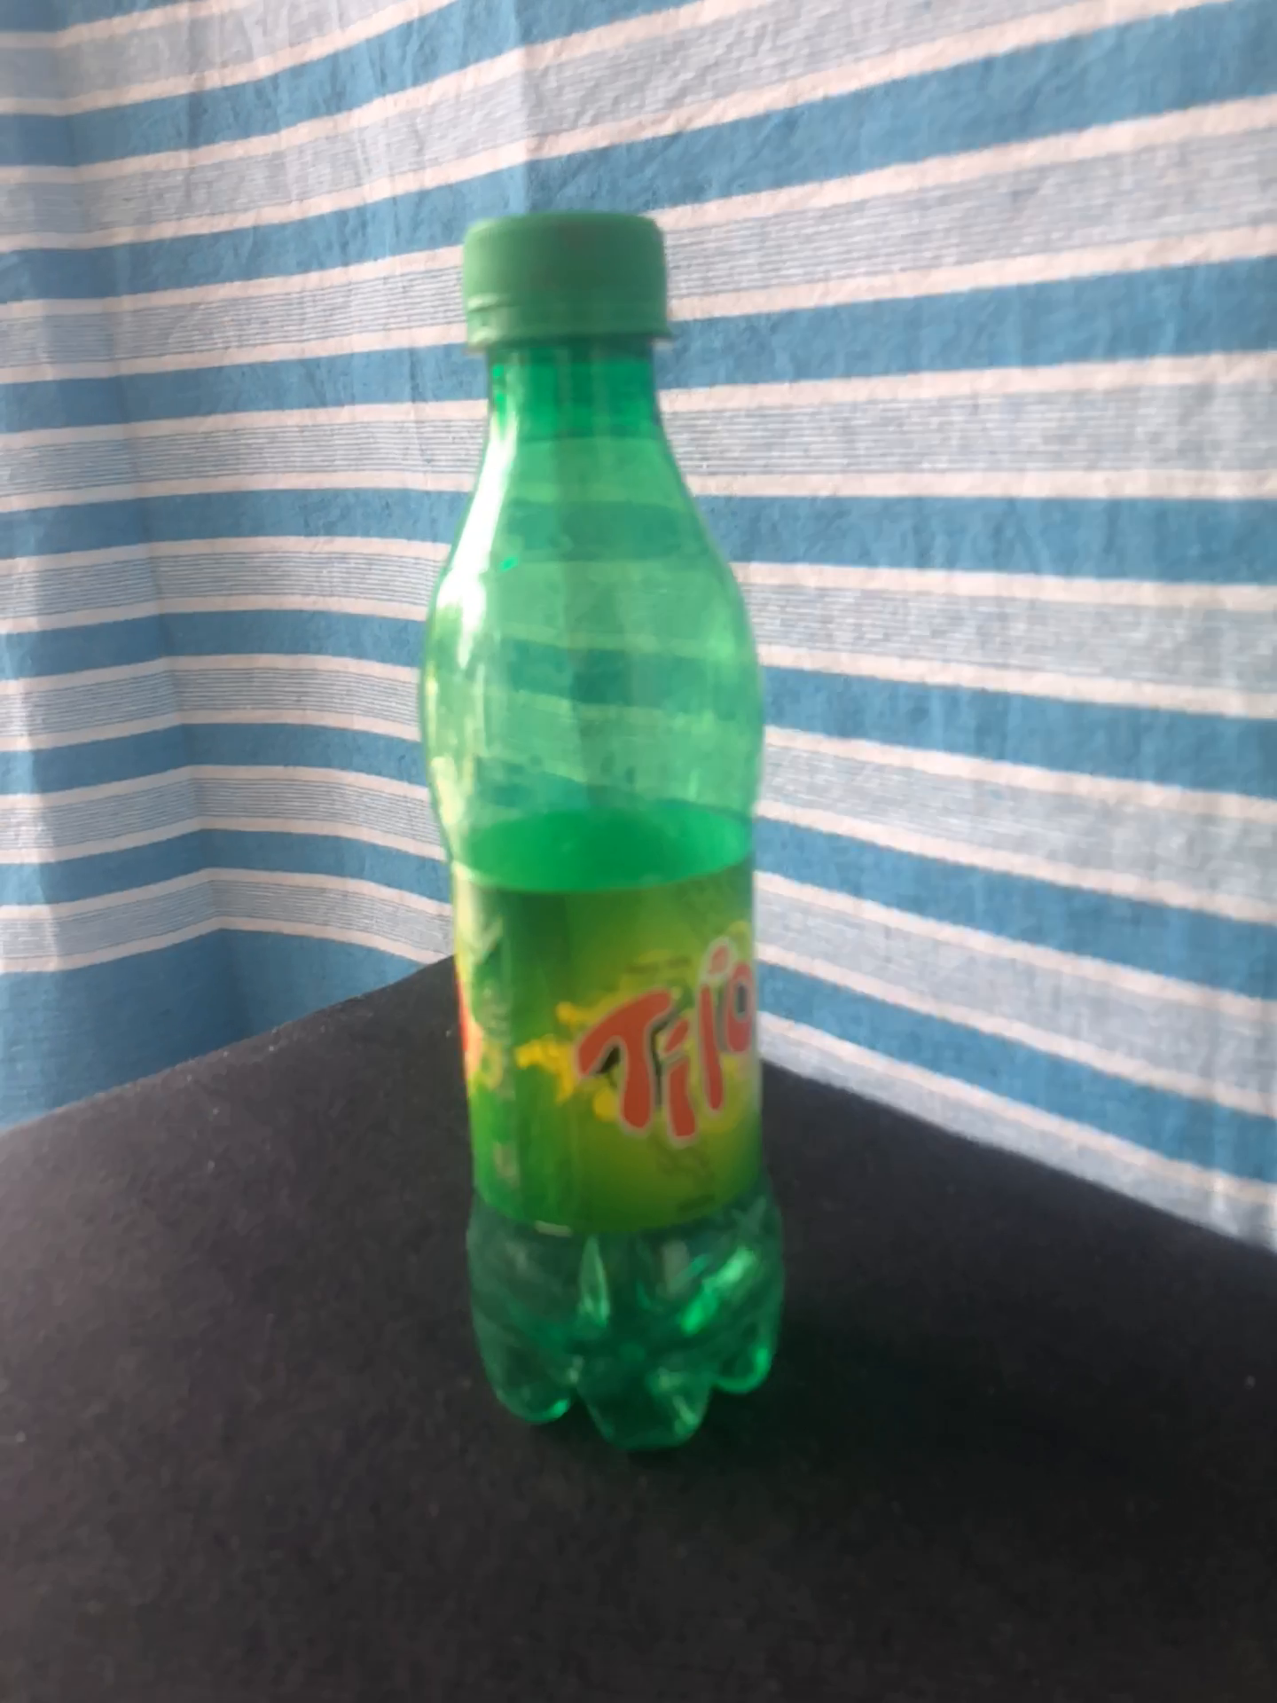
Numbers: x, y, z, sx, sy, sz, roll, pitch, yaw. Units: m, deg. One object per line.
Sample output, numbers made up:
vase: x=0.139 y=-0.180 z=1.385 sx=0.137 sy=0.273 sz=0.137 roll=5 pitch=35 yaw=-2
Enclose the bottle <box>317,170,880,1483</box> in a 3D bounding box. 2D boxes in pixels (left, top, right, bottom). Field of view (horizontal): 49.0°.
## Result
bottle: x=-0.005 y=-0.002 z=0.239 sx=0.070 sy=0.199 sz=0.070 roll=-2 pitch=19 yaw=1
